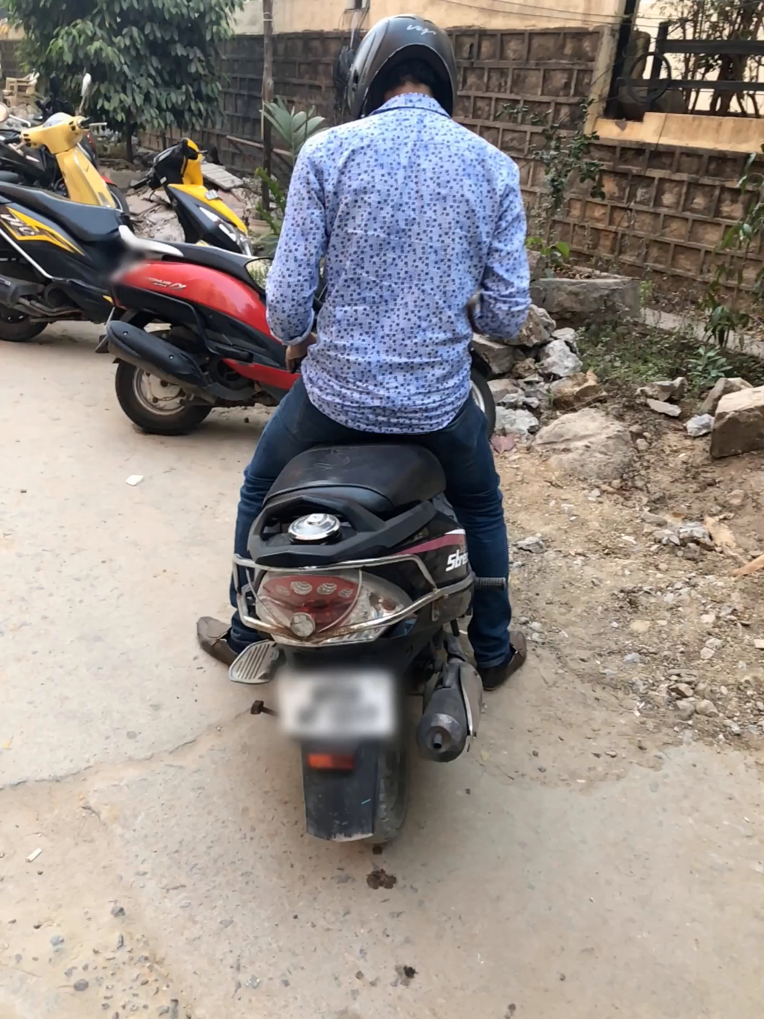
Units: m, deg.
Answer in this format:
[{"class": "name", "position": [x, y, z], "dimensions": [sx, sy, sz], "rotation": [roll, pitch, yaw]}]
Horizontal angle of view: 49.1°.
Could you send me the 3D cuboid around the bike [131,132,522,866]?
[{"class": "bike", "position": [-0.124, -0.215, 2.034], "dimensions": [0.559, 1.054, 1.482], "rotation": [5, 28, -2]}]
